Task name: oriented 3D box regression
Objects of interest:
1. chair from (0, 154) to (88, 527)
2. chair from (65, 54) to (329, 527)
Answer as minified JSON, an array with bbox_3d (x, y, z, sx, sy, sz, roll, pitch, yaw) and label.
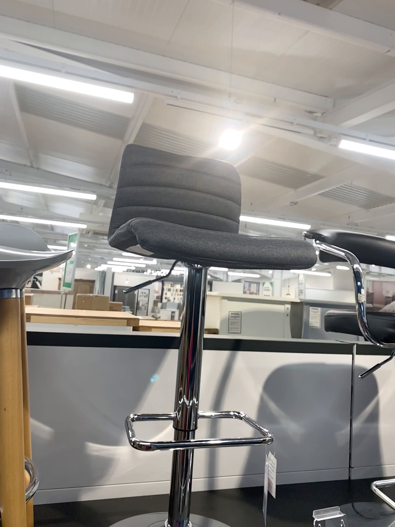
[{"bbox_3d":[-0.484,0.270,0.725,0.445,0.742,0.452,5,-5,-22],"label":"chair"},{"bbox_3d":[-0.027,0.159,0.986,0.445,1.033,0.452,5,-6,-22],"label":"chair"}]
